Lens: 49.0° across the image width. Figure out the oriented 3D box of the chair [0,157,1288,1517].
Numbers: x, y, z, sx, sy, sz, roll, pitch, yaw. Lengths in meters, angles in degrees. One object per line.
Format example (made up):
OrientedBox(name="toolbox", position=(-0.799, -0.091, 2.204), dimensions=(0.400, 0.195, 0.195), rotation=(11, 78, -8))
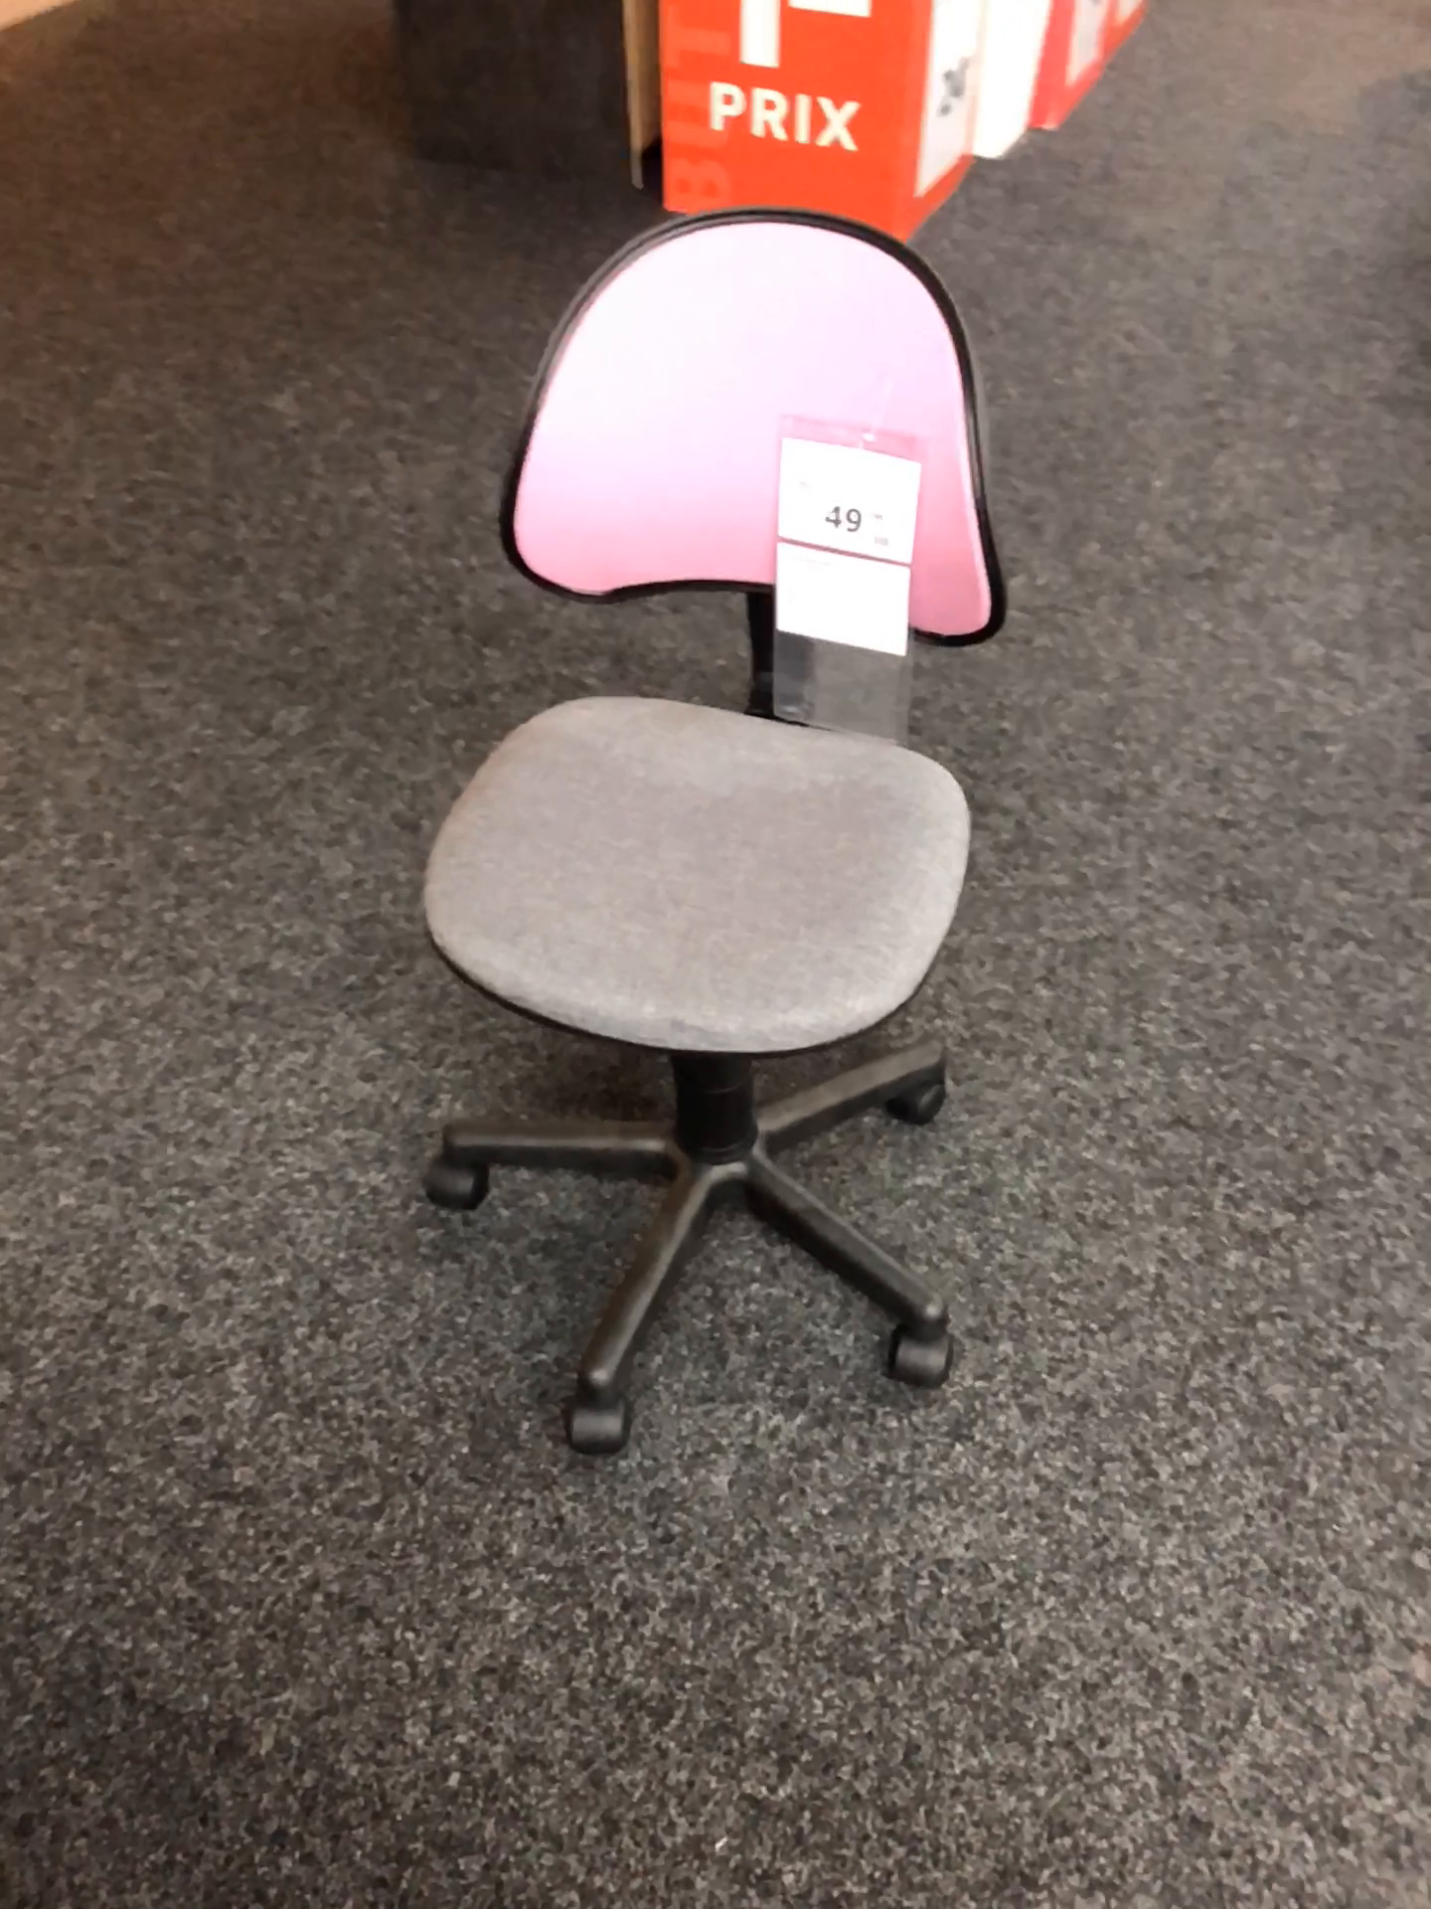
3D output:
OrientedBox(name="chair", position=(-0.012, -0.076, 1.188), dimensions=(0.600, 0.776, 0.604), rotation=(5, 44, 5))
